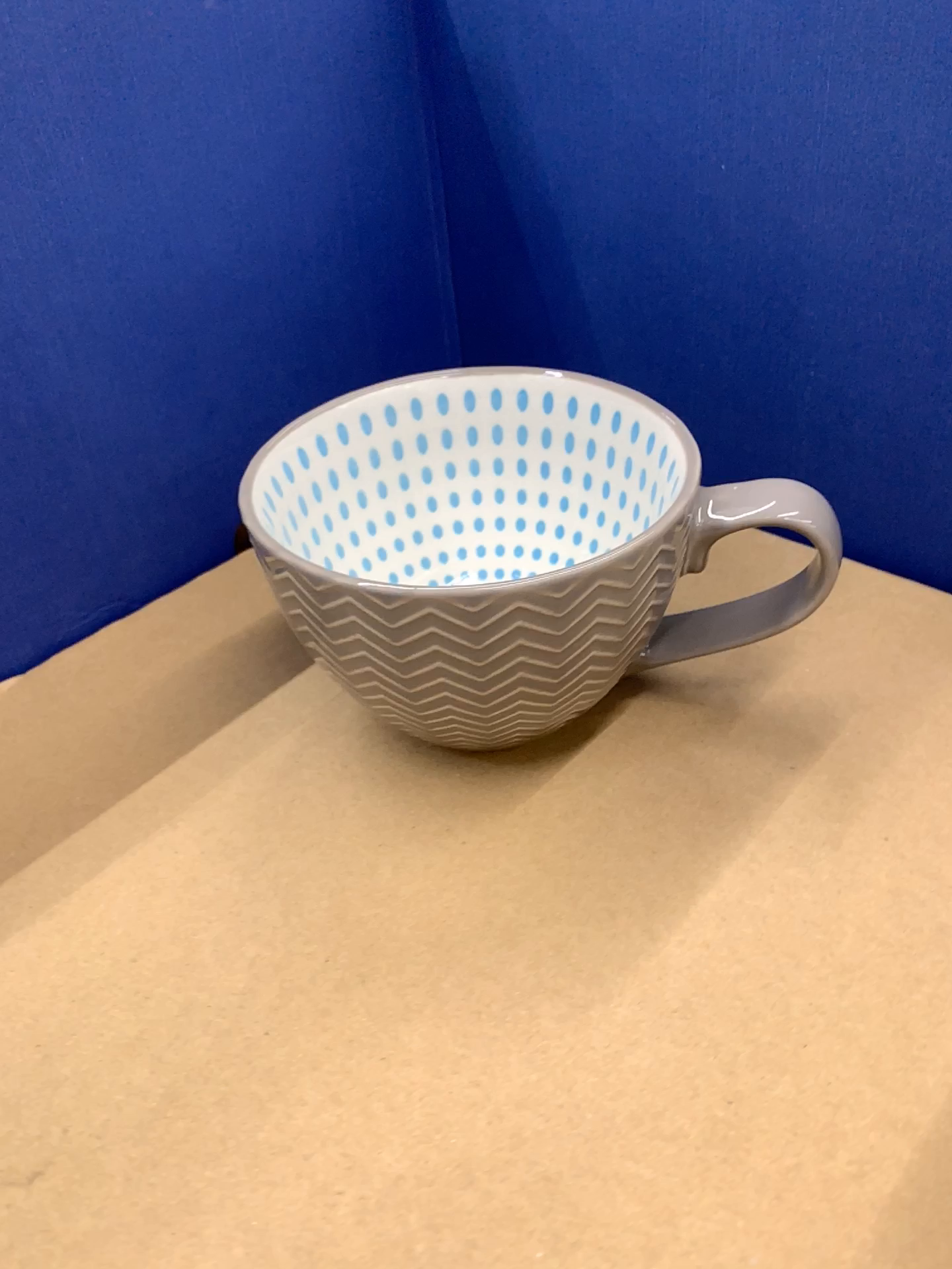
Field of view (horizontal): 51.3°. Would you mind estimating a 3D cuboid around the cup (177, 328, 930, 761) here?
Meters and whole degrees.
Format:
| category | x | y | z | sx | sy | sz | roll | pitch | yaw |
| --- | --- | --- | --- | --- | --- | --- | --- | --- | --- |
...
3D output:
| category | x | y | z | sx | sy | sz | roll | pitch | yaw |
| --- | --- | --- | --- | --- | --- | --- | --- | --- | --- |
| cup | 0.019 | -0.028 | 0.259 | 0.150 | 0.058 | 0.109 | -2 | 35 | 6 |
